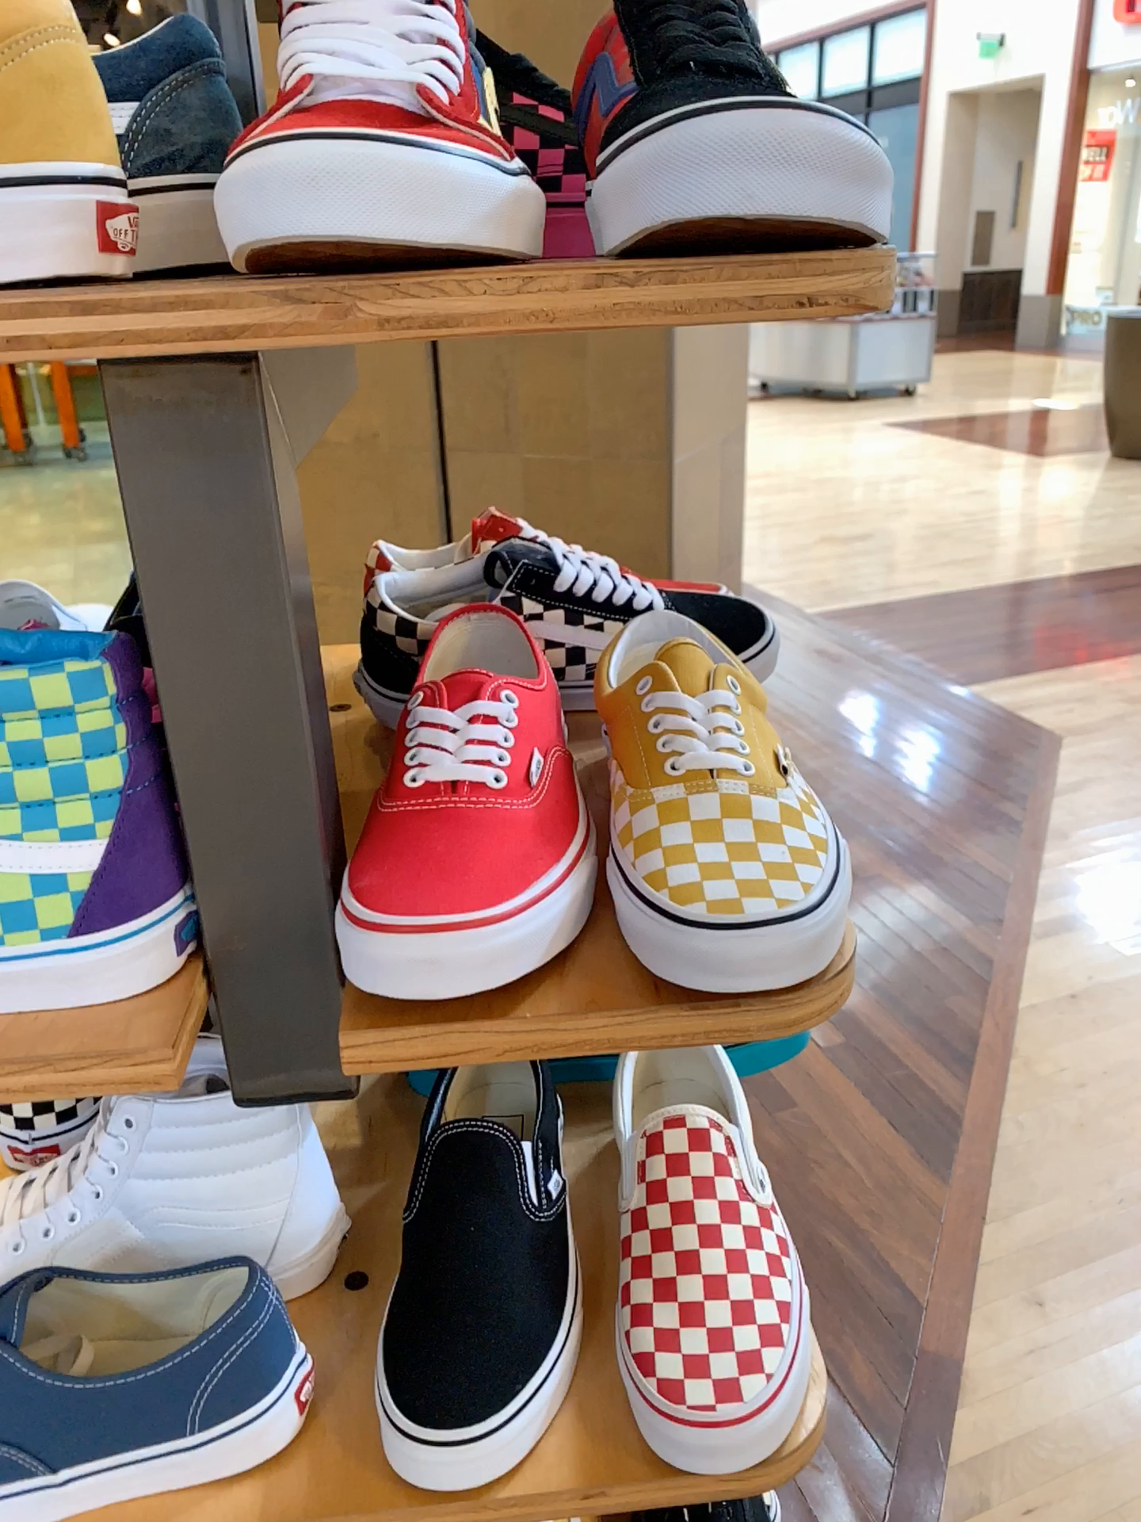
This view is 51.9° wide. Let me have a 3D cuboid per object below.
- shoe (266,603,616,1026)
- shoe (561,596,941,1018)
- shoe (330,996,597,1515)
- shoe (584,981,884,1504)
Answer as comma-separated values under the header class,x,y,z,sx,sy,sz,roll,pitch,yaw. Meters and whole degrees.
class,x,y,z,sx,sy,sz,roll,pitch,yaw
shoe,-0.046,0.003,0.505,0.109,0.067,0.269,-3,23,-2
shoe,0.057,-0.001,0.504,0.103,0.067,0.269,-3,23,-3
shoe,-0.048,0.230,0.603,0.105,0.067,0.269,-3,23,-2
shoe,0.066,0.218,0.592,0.103,0.067,0.269,-3,23,-2
